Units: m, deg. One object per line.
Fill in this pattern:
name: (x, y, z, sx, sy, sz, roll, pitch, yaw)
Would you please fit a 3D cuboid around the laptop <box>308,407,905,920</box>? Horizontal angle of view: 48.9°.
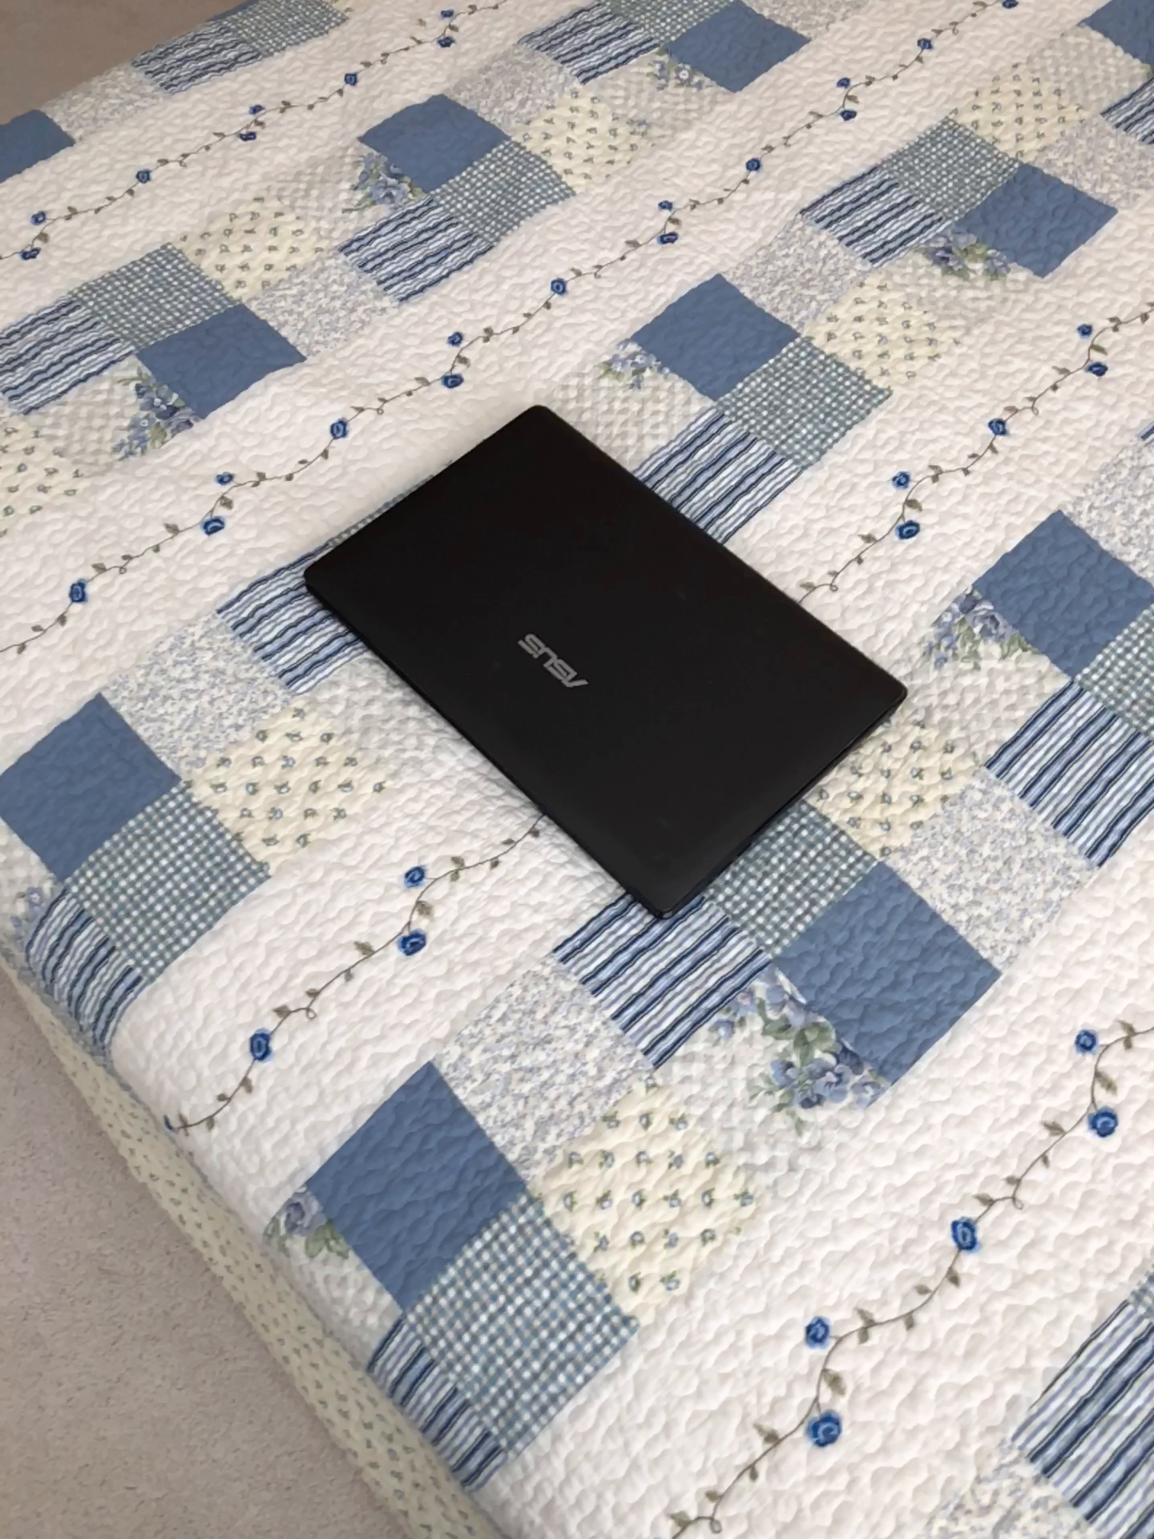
laptop: (0.014, -0.096, 0.901, 0.235, 0.006, 0.369, -40, 68, -18)
